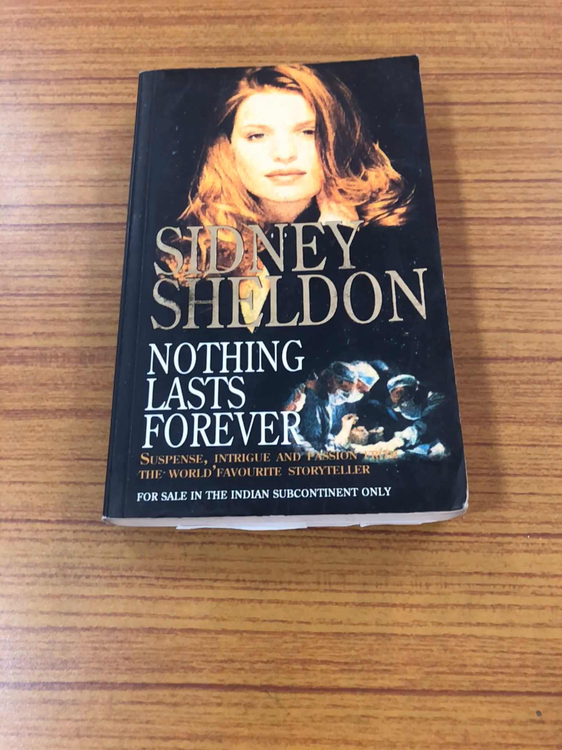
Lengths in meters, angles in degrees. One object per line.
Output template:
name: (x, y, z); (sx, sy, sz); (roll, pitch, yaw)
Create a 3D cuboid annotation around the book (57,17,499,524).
book: (-0.003, -0.040, 0.213); (0.120, 0.030, 0.170); (-2, 71, 2)
